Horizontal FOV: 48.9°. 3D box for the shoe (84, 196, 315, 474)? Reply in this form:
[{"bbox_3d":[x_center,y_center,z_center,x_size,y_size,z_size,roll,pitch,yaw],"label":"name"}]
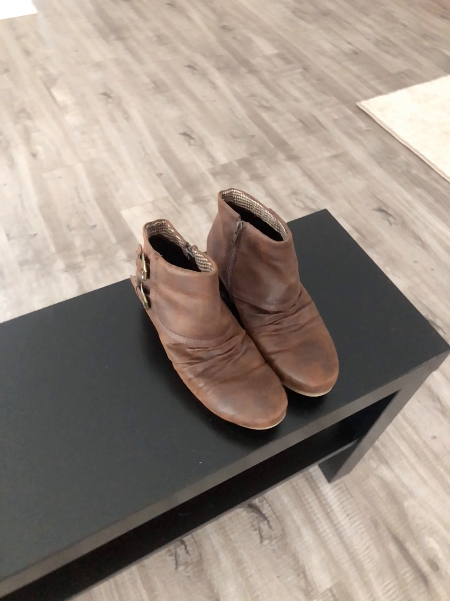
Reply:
[{"bbox_3d":[-0.036,0.029,0.500,0.090,0.130,0.241,-29,60,-23],"label":"shoe"}]

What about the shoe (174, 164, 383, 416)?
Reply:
[{"bbox_3d":[0.039,-0.019,0.528,0.090,0.110,0.241,-22,57,-19],"label":"shoe"}]
